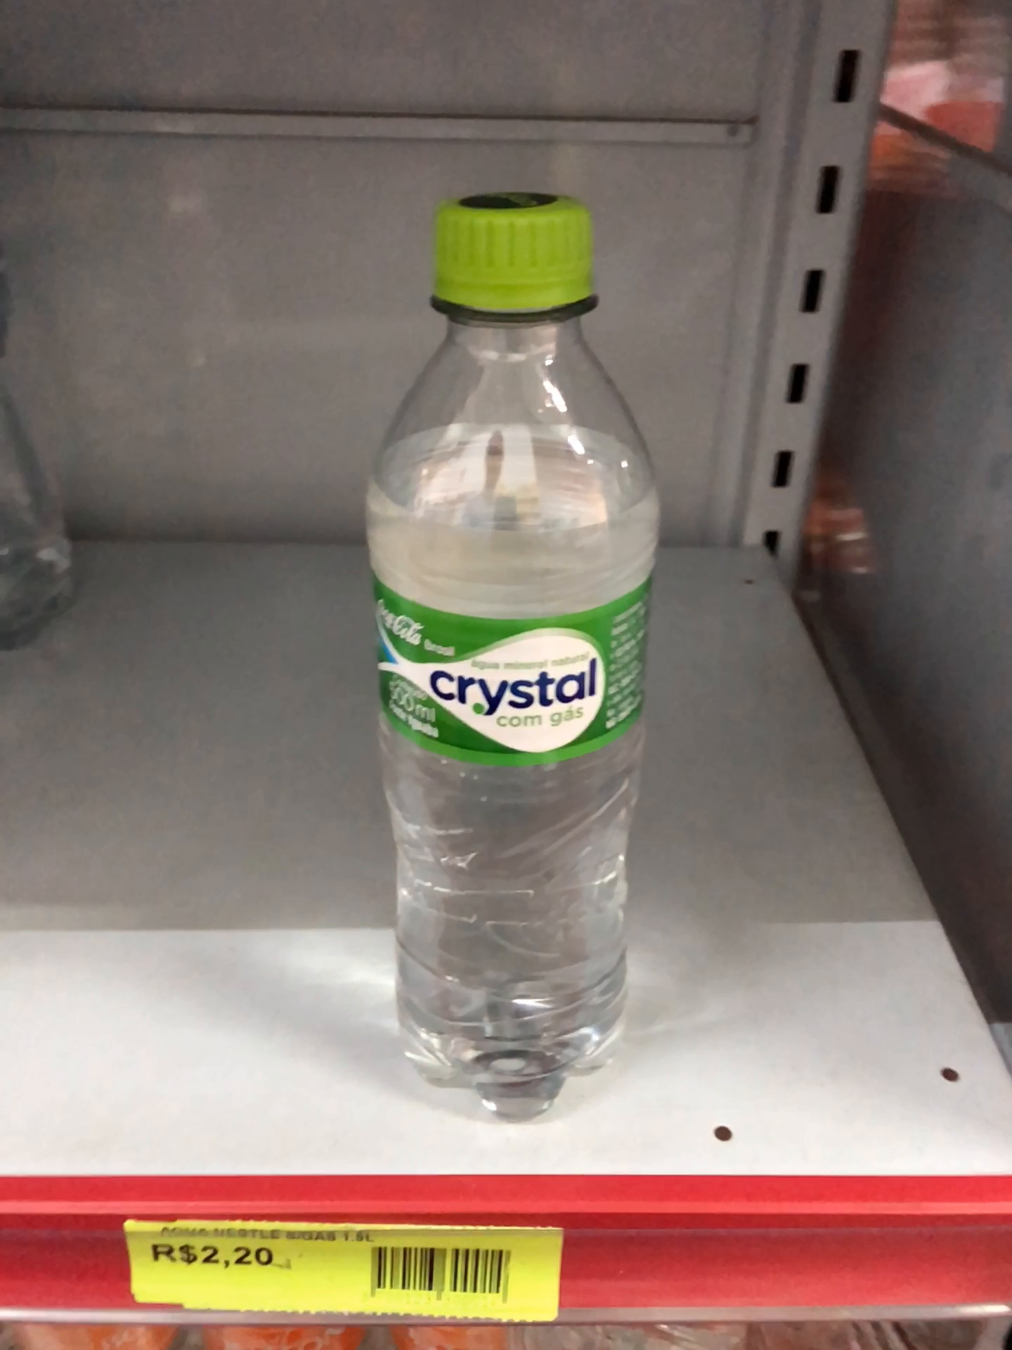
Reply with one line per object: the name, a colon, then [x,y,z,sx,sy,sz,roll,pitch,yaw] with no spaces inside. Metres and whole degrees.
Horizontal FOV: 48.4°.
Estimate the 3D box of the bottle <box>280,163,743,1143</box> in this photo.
bottle: [0.000,0.009,0.254,0.070,0.218,0.060,3,33,2]
